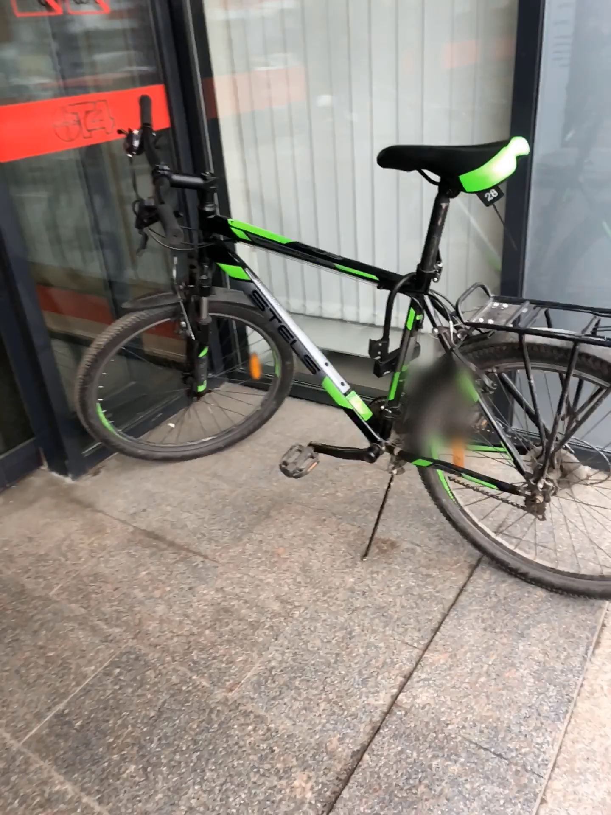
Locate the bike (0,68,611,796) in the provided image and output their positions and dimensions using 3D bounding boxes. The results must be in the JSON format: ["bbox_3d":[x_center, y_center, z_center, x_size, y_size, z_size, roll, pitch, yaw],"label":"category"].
[{"bbox_3d":[0.037,-0.059,1.426,1.546,1.051,0.631,9,31,25],"label":"bike"}]
